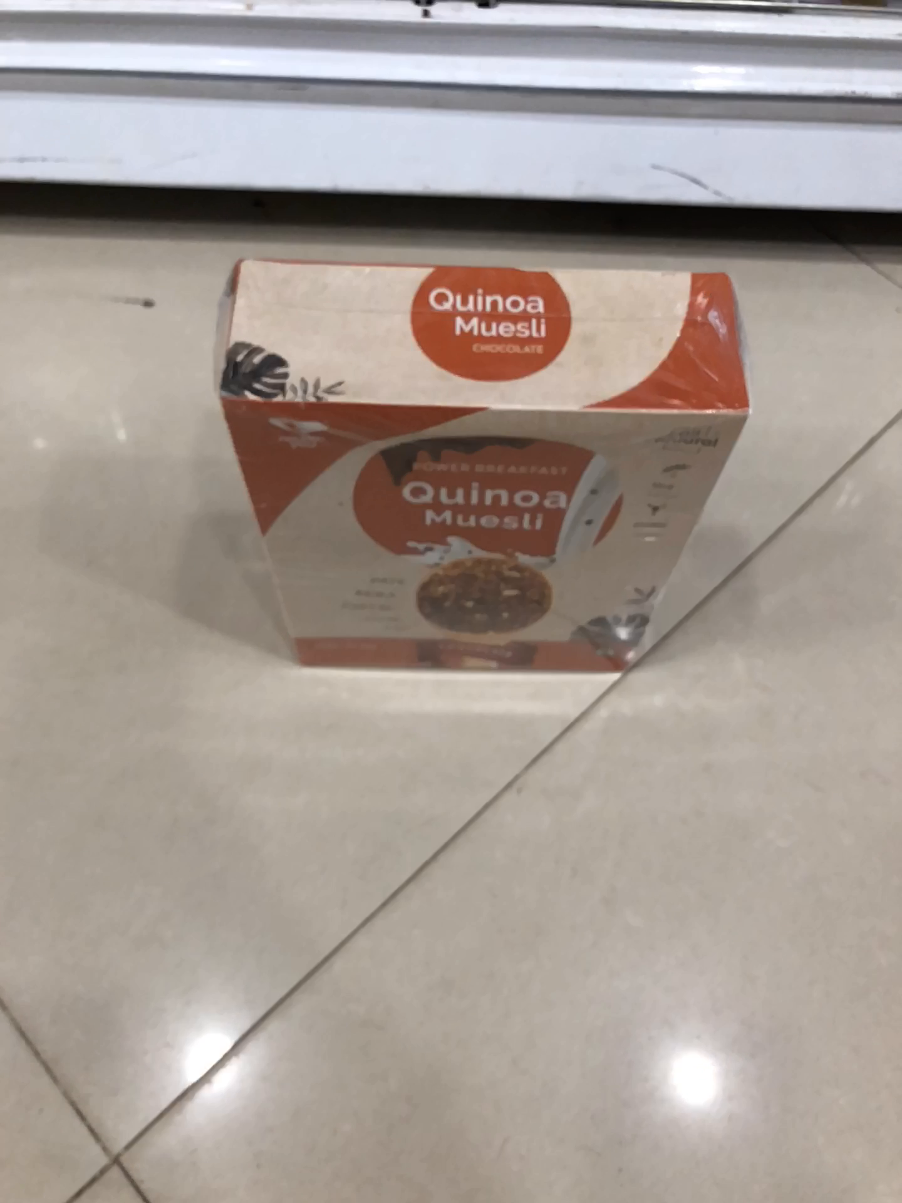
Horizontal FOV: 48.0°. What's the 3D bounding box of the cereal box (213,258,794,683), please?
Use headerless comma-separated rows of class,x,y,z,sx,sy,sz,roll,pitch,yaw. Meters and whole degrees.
cereal box,0.011,-0.031,0.389,0.160,0.219,0.050,1,66,-2
